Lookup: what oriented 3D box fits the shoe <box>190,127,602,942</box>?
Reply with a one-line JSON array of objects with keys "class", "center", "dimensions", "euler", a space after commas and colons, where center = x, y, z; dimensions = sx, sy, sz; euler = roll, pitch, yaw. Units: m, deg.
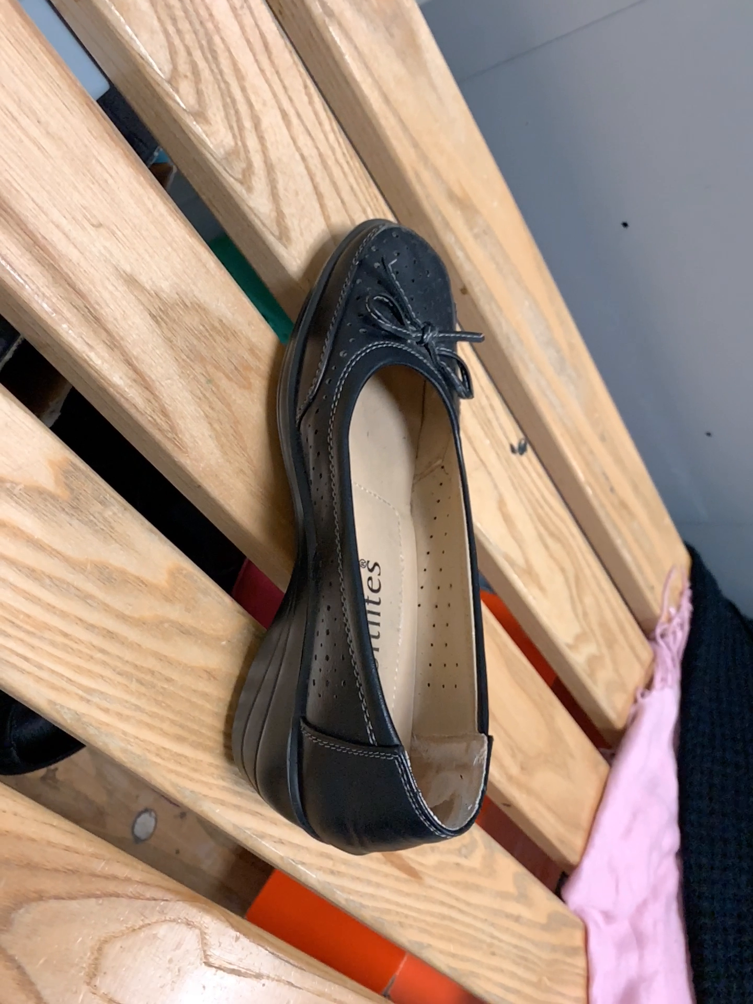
[{"class": "shoe", "center": [0.015, 0.008, 0.321], "dimensions": [0.087, 0.109, 0.273], "euler": [21, 71, -45]}]
